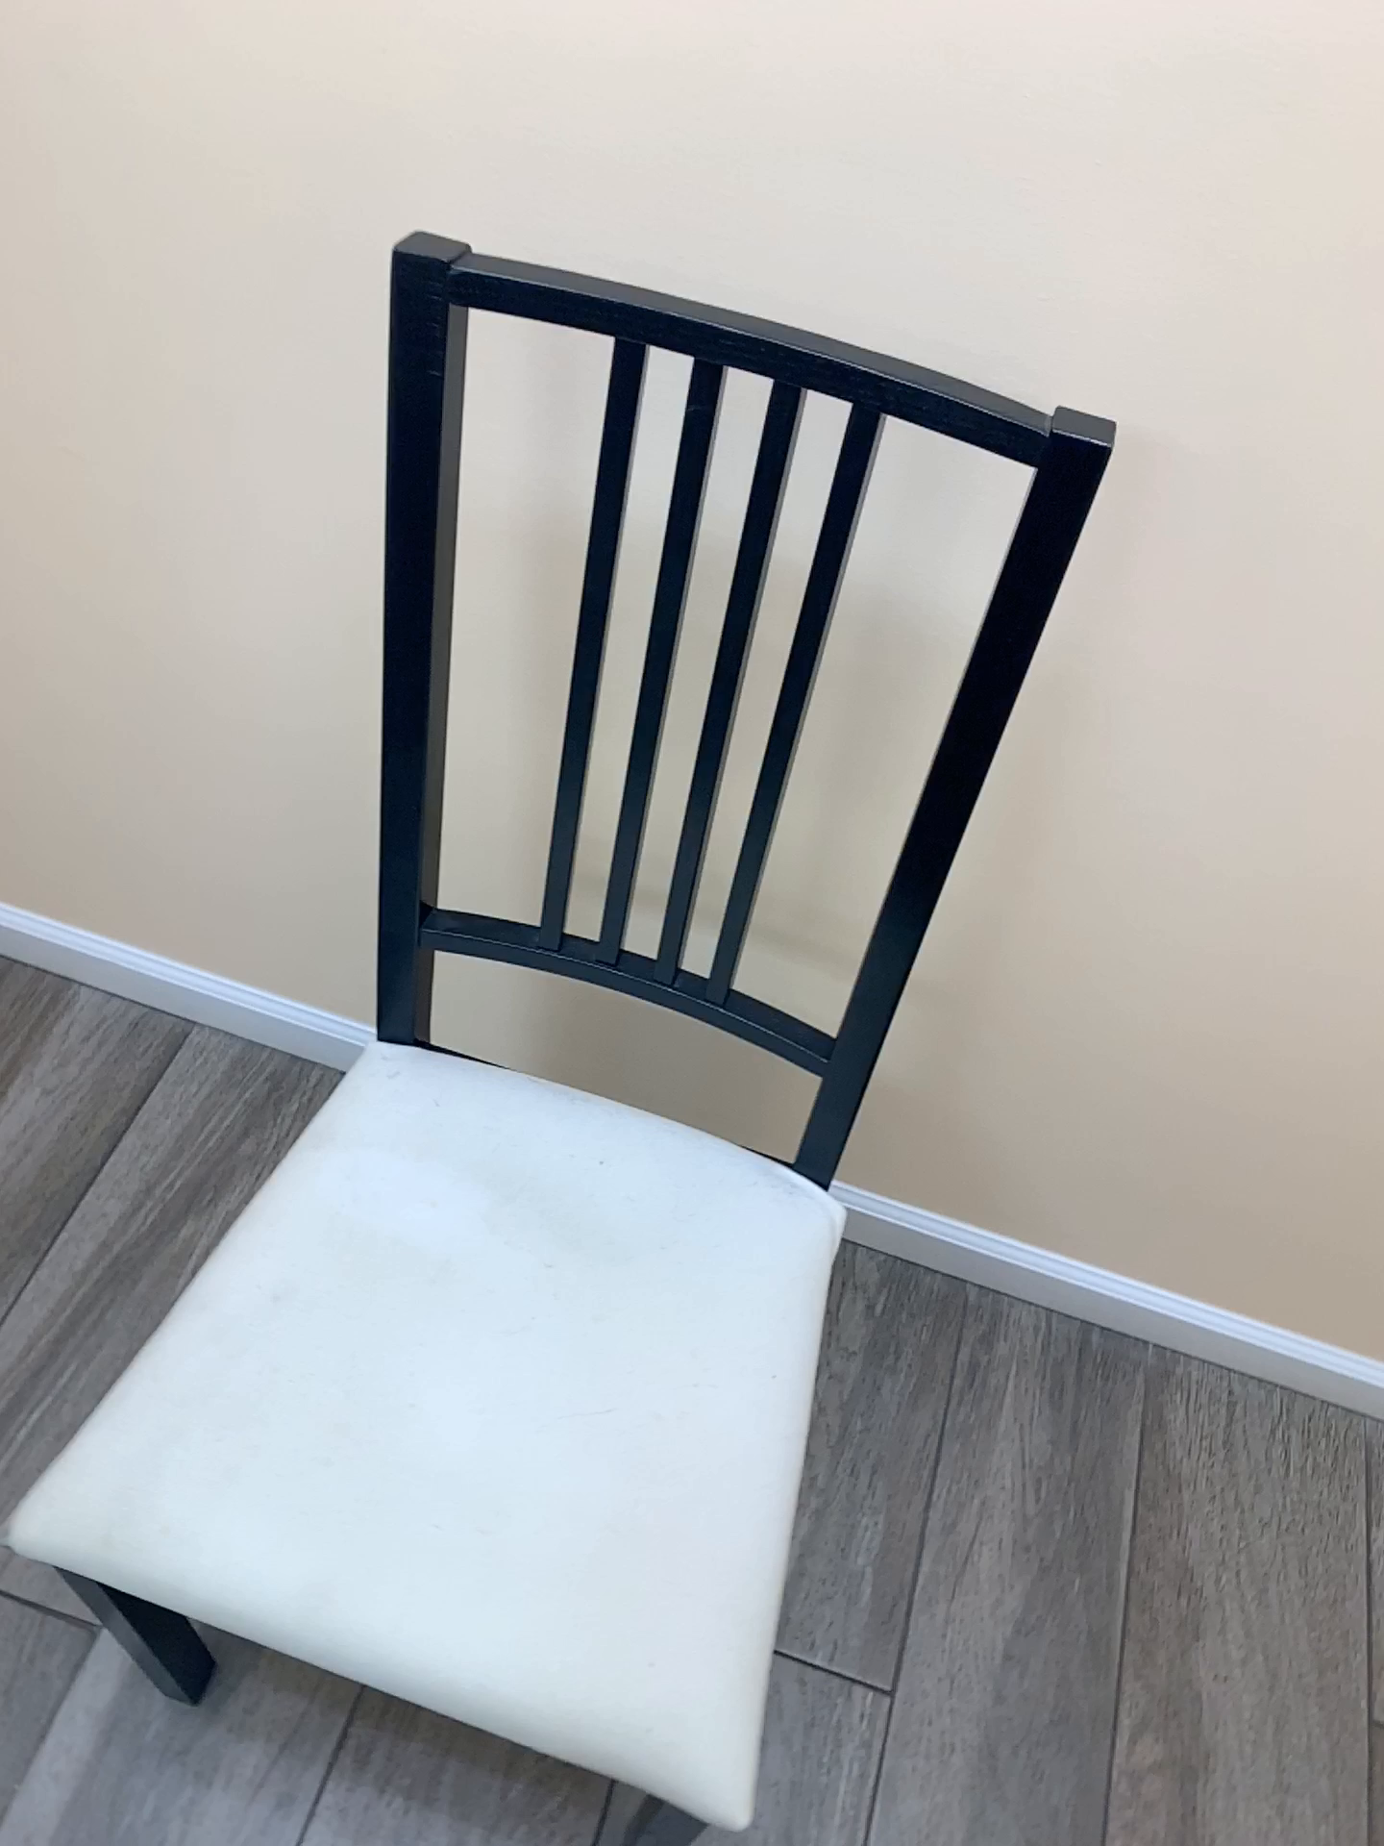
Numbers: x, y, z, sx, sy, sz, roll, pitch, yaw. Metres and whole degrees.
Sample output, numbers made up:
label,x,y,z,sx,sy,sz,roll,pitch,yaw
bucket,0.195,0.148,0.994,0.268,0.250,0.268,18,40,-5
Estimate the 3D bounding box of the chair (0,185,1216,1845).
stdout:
label,x,y,z,sx,sy,sz,roll,pitch,yaw
chair,-0.100,0.190,0.874,0.438,0.964,0.499,17,51,5
